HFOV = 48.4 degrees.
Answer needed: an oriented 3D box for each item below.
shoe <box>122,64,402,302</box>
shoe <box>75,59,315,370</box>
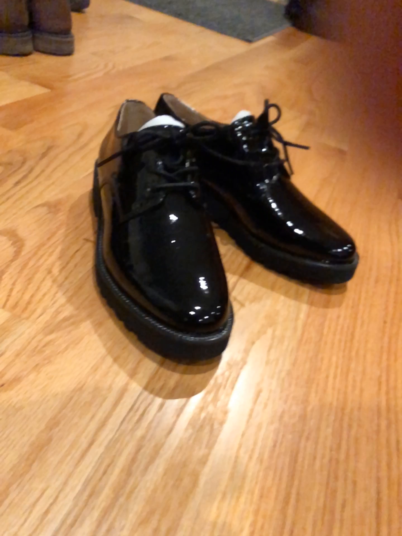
[{"bbox_3d":[0.051,-0.095,0.423,0.251,0.101,0.095,36,41,25],"label":"shoe"},{"bbox_3d":[-0.032,-0.060,0.339,0.095,0.101,0.252,-1,40,-22],"label":"shoe"}]
